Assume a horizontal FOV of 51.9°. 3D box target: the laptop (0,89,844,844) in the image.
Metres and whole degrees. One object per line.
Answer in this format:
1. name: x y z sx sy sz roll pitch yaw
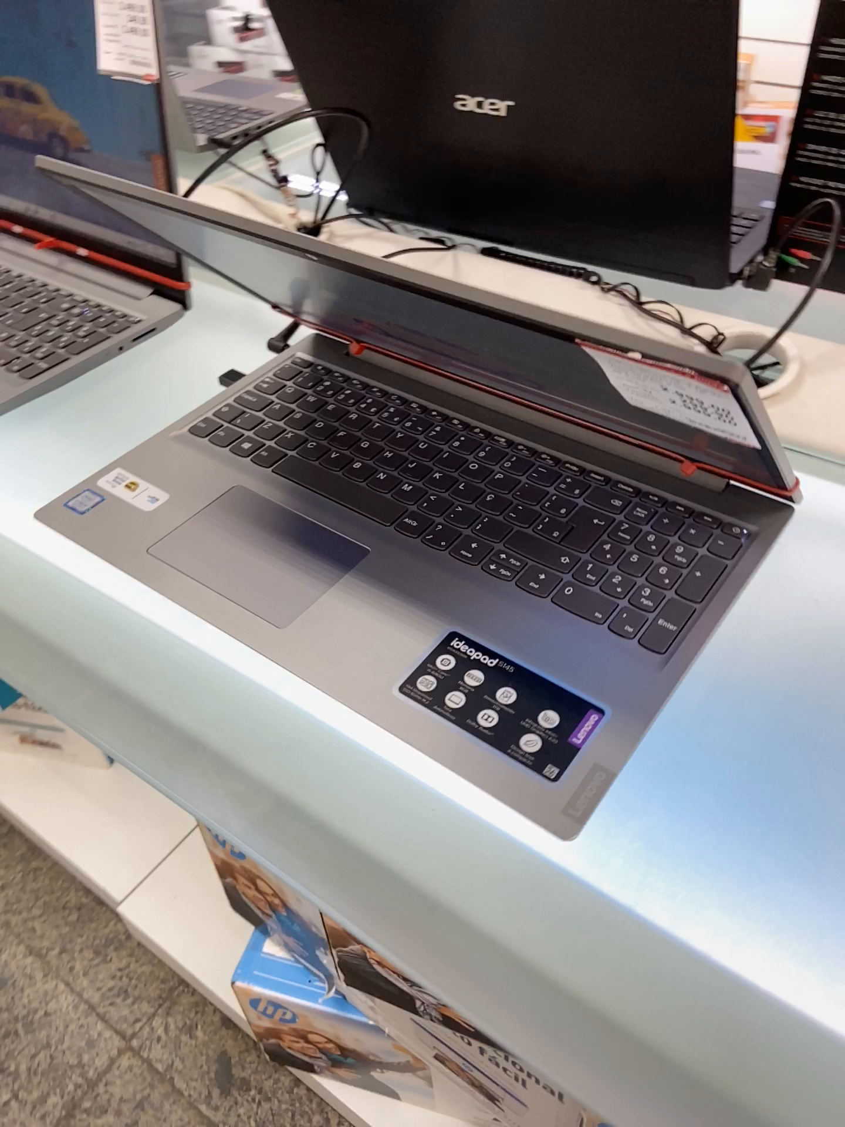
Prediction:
1. laptop: -0.017 -0.091 0.443 0.361 0.167 0.247 26 51 28
